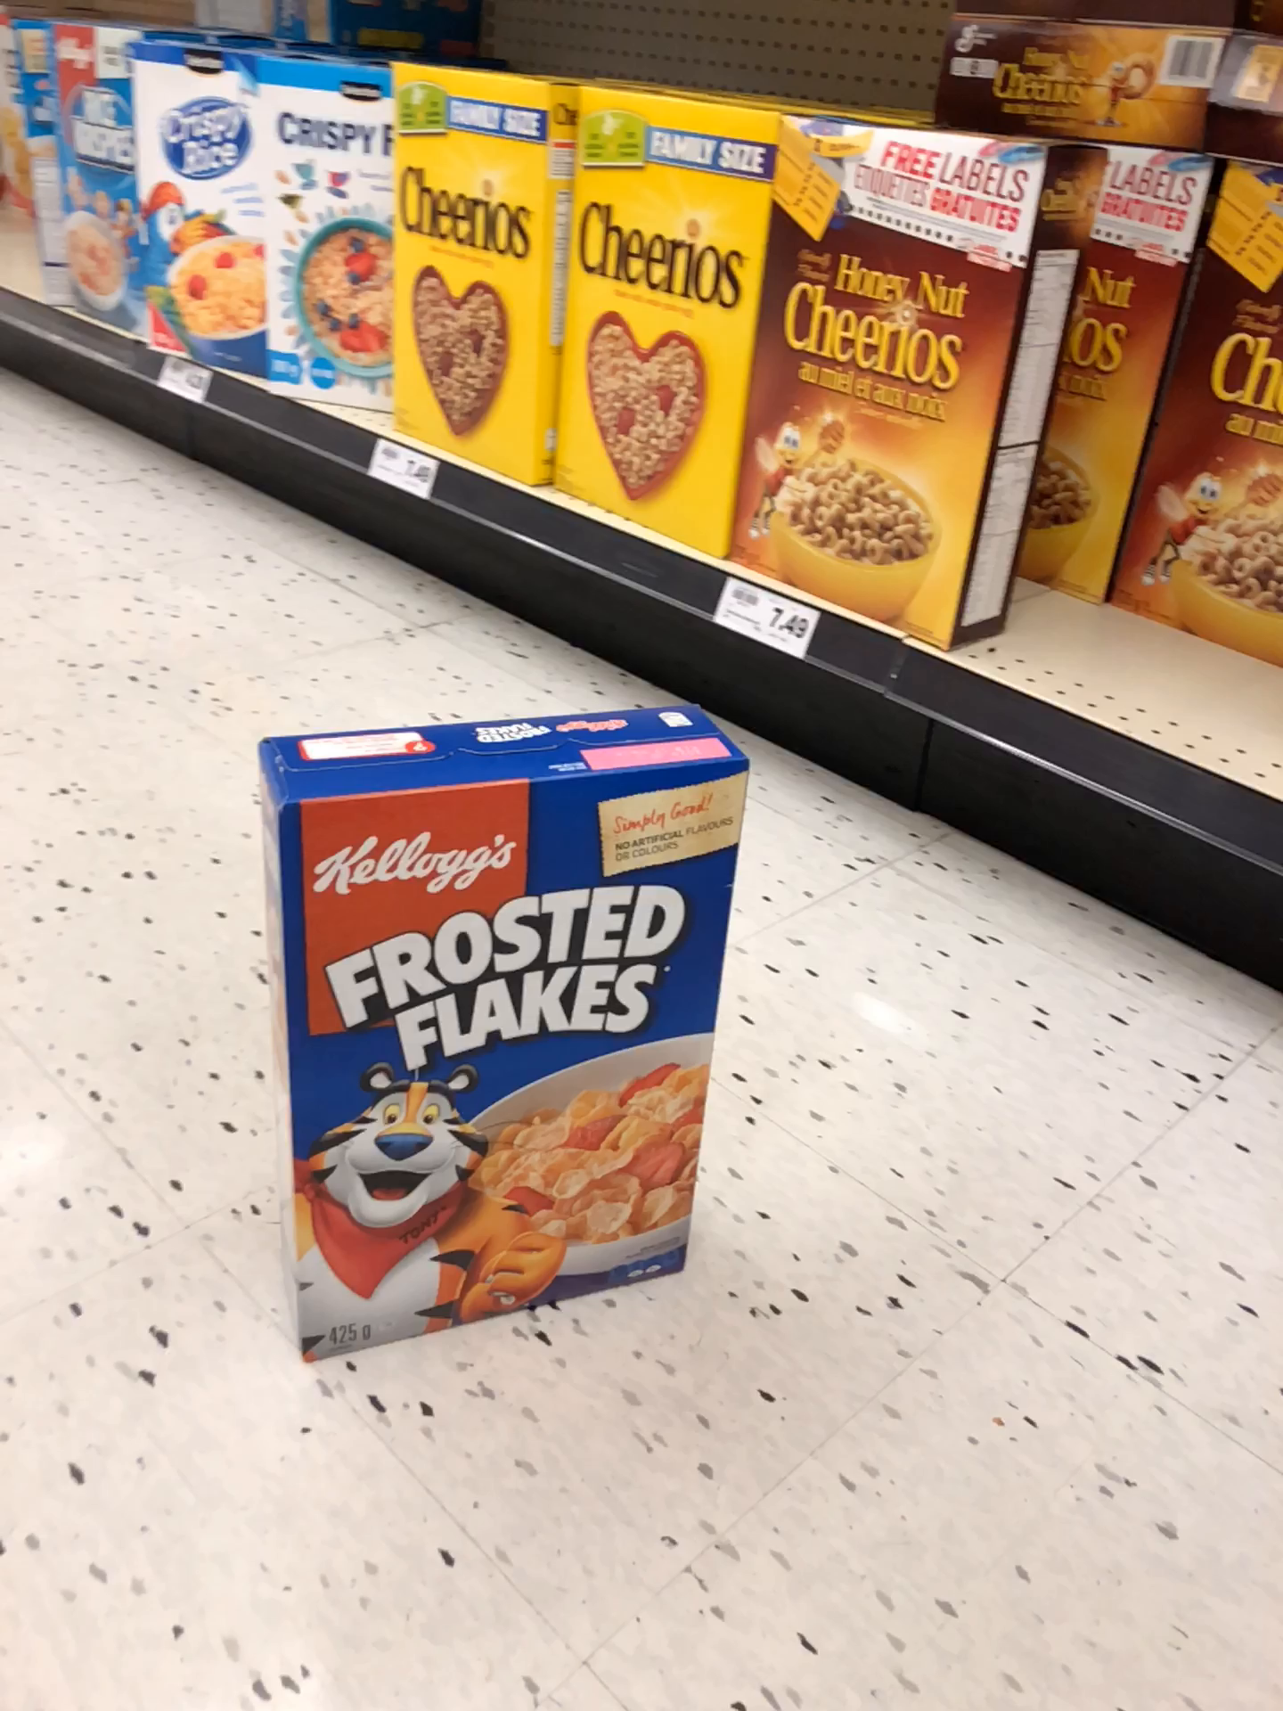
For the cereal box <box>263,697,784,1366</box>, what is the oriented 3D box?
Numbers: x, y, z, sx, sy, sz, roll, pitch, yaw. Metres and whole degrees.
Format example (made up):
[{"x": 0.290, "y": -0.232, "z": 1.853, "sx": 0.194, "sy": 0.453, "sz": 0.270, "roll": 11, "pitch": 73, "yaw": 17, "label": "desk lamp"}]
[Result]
[{"x": -0.060, "y": 0.082, "z": 0.641, "sx": 0.200, "sy": 0.288, "sz": 0.070, "roll": -7, "pitch": 32, "yaw": -22, "label": "cereal box"}]
